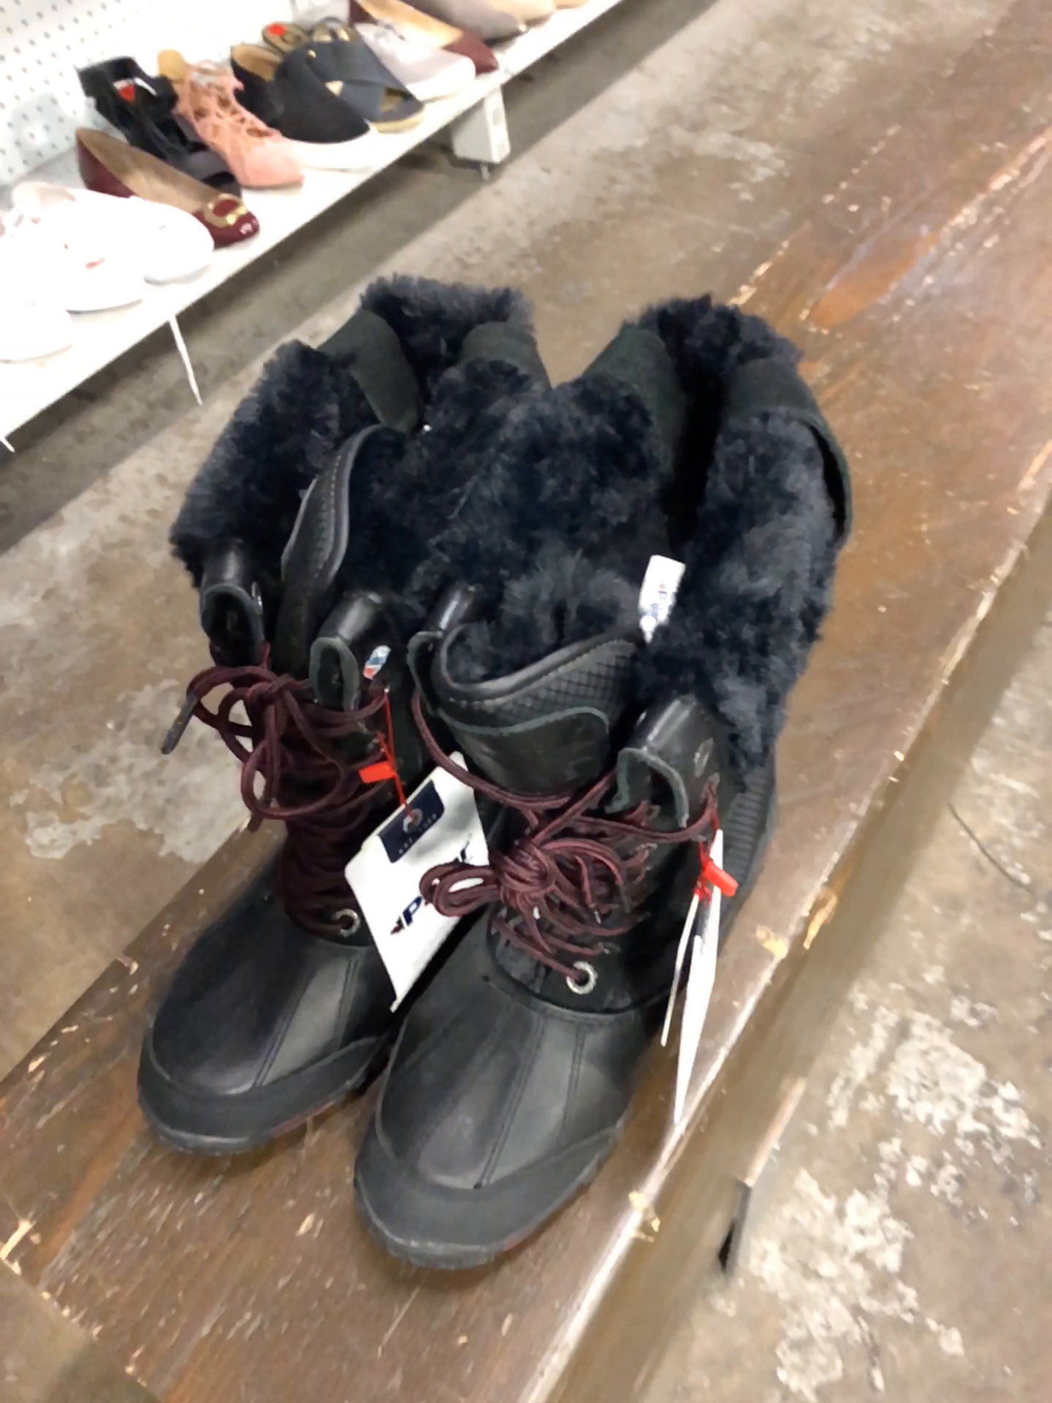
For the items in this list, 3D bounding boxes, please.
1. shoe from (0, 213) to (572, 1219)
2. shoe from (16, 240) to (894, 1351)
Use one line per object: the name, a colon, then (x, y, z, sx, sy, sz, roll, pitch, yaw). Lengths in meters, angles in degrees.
shoe: (-0.086, 0.014, 0.404, 0.100, 0.258, 0.221, 21, 55, 22)
shoe: (0.009, 0.039, 0.371, 0.100, 0.258, 0.231, 21, 55, 22)
